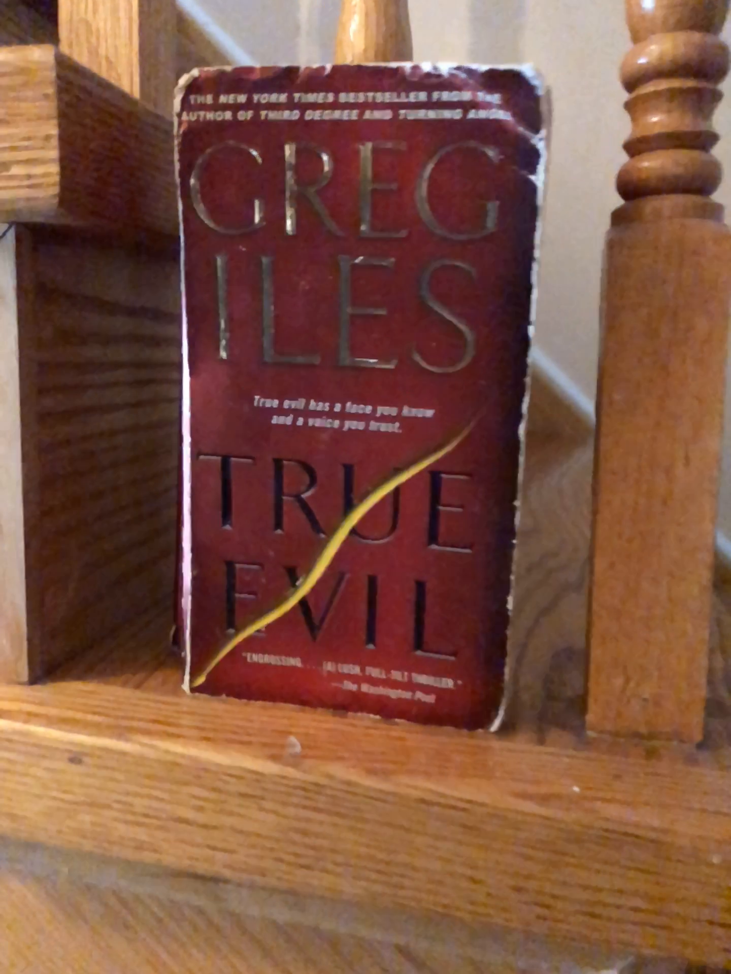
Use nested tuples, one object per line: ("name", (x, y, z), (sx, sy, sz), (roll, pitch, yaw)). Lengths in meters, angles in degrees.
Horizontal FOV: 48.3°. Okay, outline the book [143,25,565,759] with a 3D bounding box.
("book", (-0.001, -0.028, 0.274), (0.120, 0.205, 0.068), (3, 9, 12))
